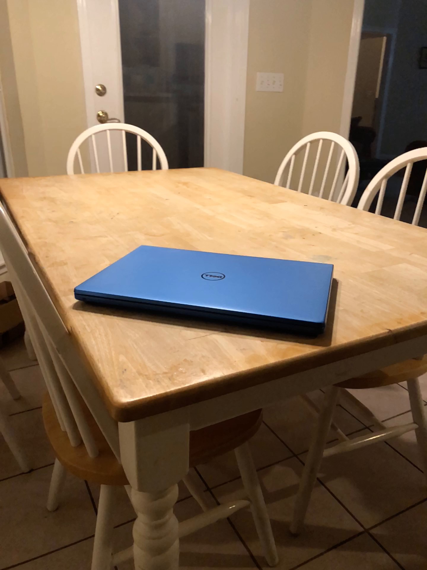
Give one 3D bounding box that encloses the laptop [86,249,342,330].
[{"bbox_3d":[0.019,-0.006,0.815,0.388,0.001,0.260,7,23,15],"label":"laptop"}]
